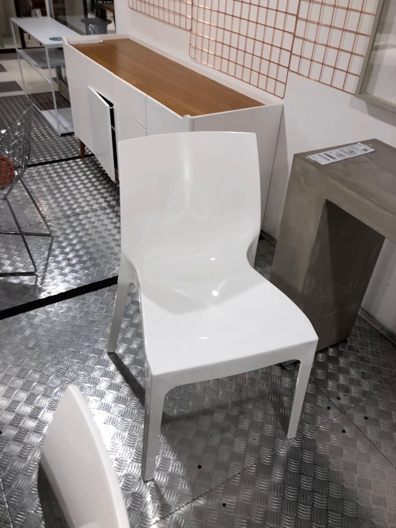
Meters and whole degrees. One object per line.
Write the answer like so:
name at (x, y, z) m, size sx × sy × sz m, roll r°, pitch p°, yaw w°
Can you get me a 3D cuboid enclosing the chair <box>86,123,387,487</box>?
chair at (0.023, 0.095, 1.209) m, size 0.521 × 0.764 × 0.544 m, roll -9°, pitch 39°, yaw -16°
